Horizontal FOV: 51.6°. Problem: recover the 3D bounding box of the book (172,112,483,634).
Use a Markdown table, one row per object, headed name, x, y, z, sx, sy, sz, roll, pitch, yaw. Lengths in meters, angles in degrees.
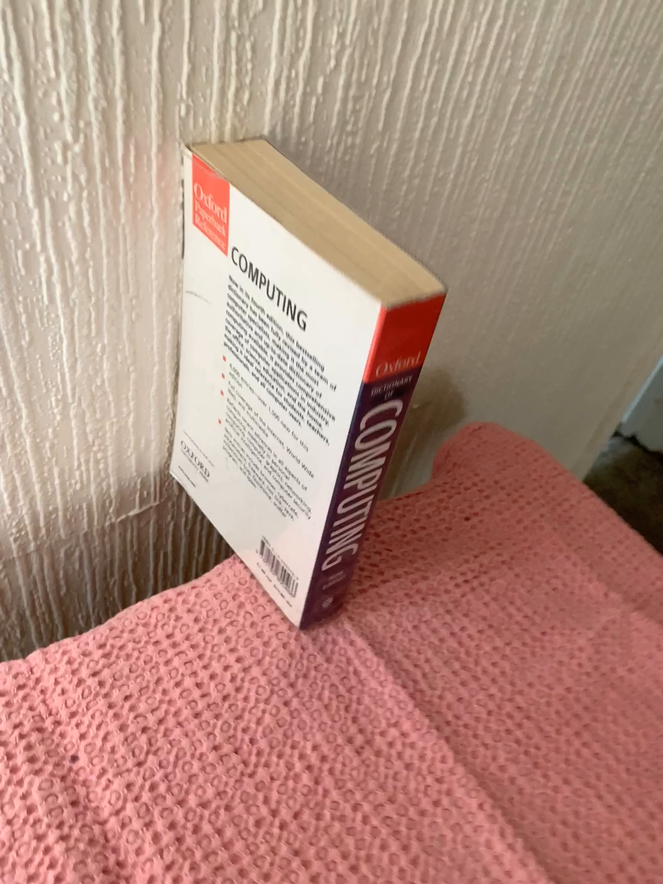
| name | x | y | z | sx | sy | sz | roll | pitch | yaw |
| --- | --- | --- | --- | --- | --- | --- | --- | --- | --- |
| book | -0.023 | -0.027 | 0.323 | 0.040 | 0.188 | 0.151 | -19 | 53 | -30 |
